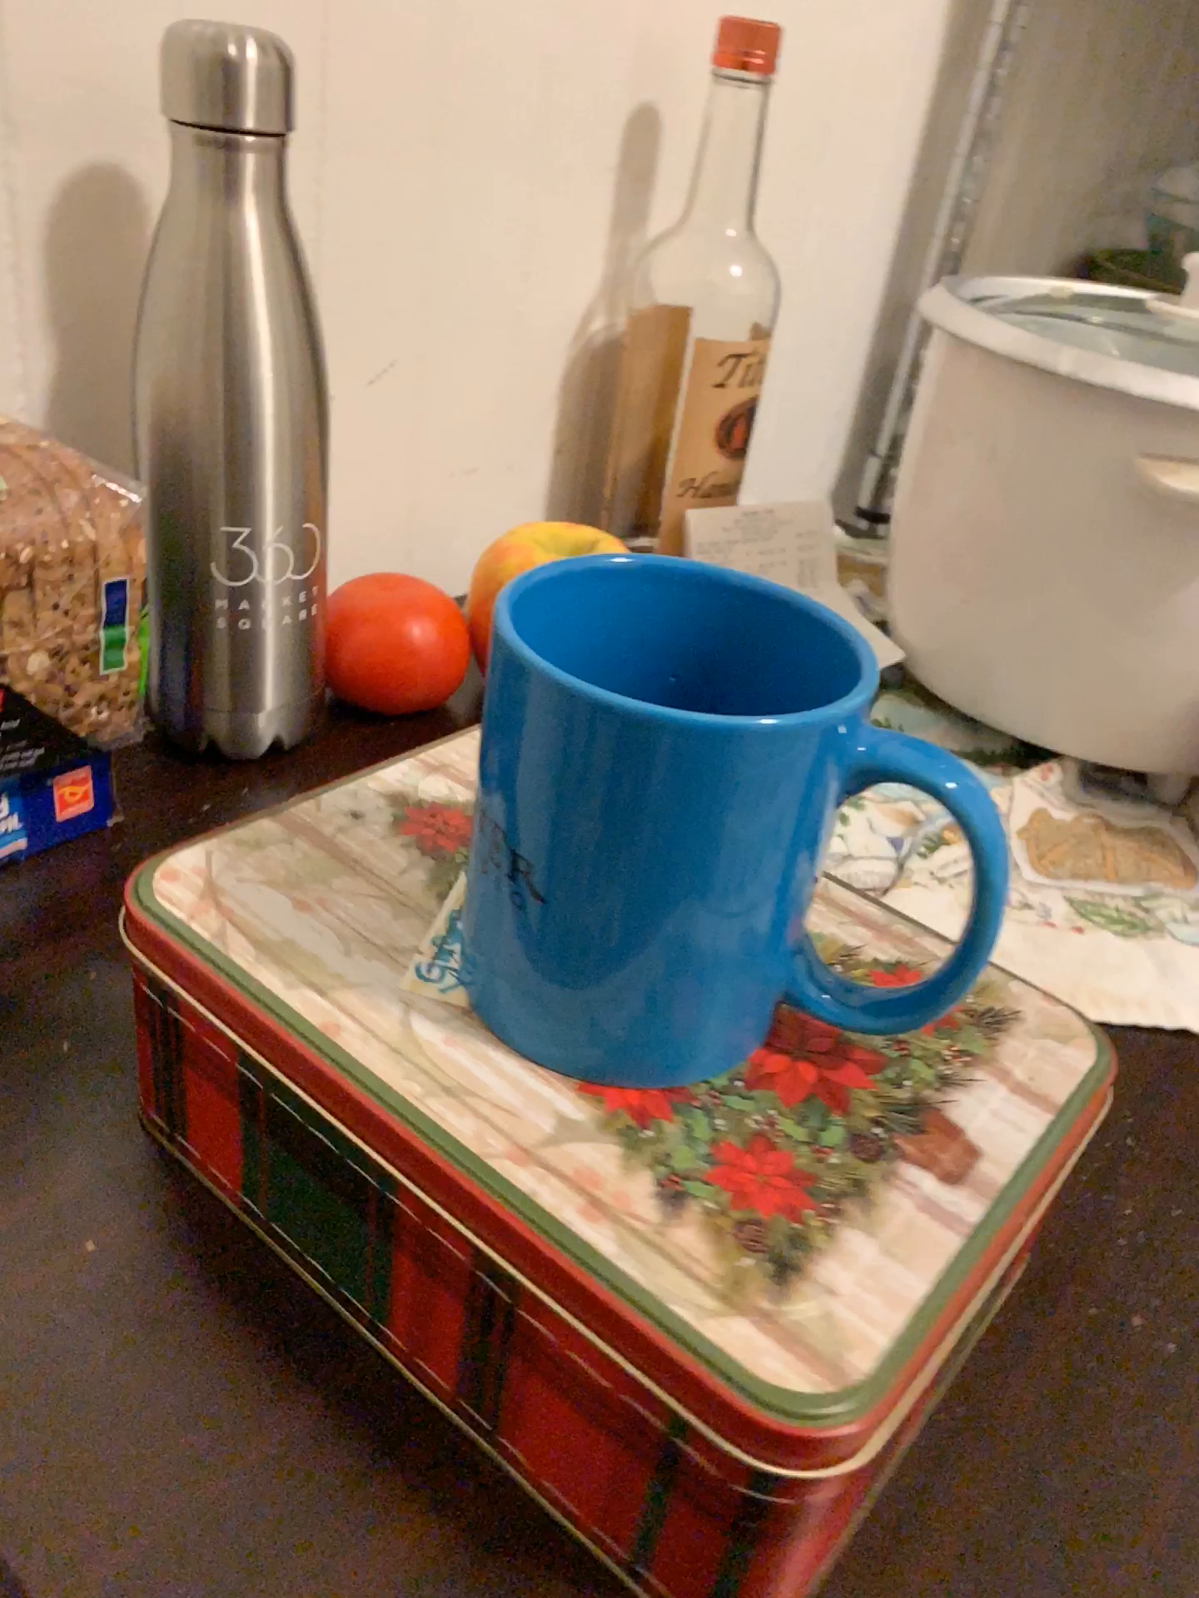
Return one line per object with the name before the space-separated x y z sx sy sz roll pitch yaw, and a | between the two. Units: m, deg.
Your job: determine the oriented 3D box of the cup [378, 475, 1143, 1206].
cup | 0.032 0.002 0.276 0.130 0.099 0.090 16 32 10
